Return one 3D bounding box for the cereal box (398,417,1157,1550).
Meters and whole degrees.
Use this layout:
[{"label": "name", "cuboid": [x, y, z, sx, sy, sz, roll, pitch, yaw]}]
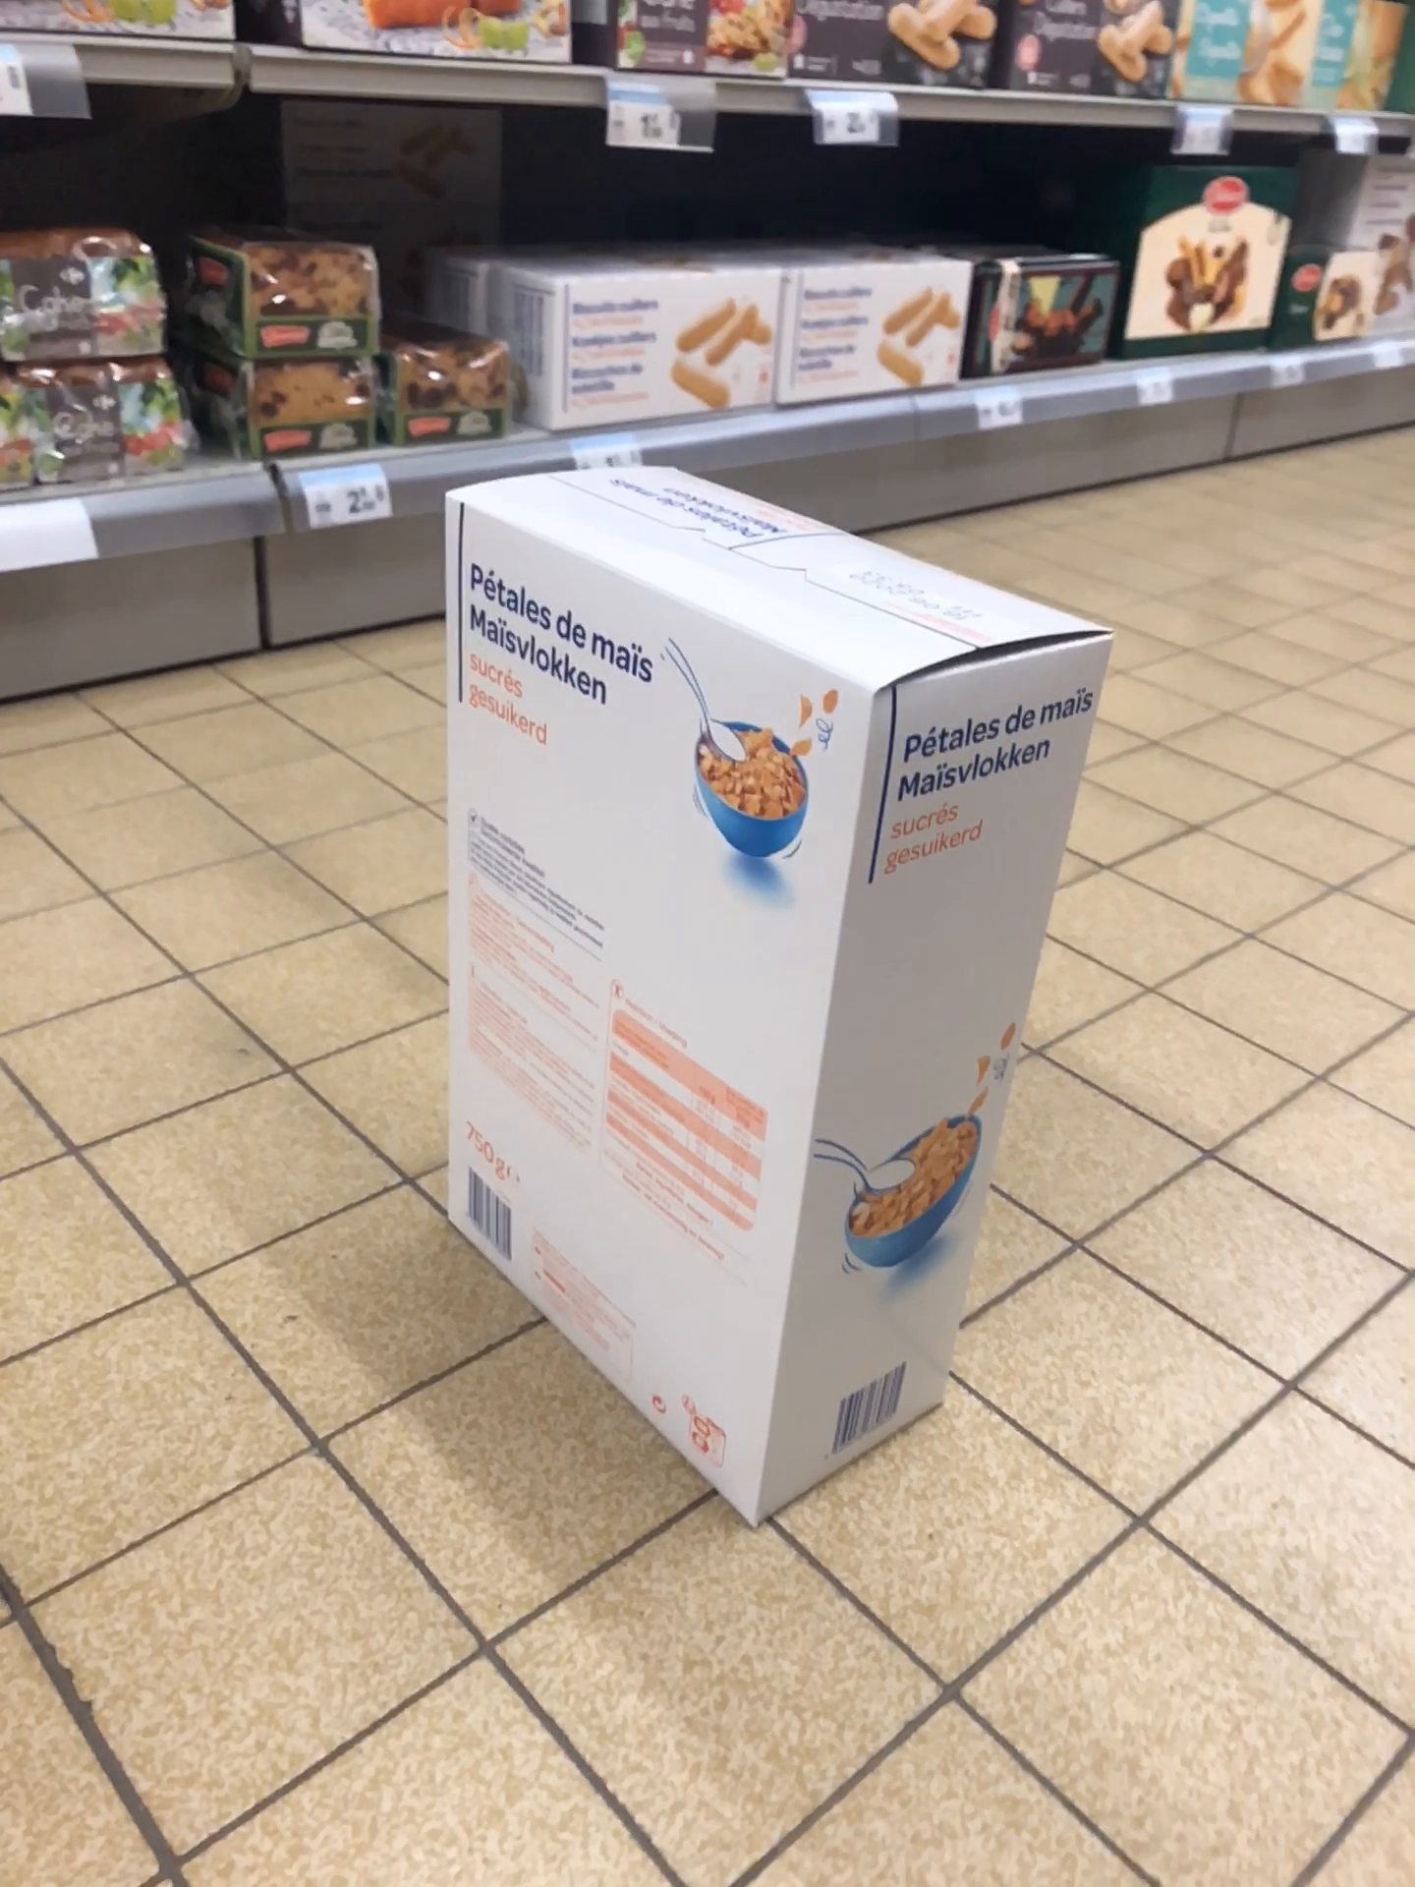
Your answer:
[{"label": "cereal box", "cuboid": [0.001, 0.005, 0.516, 0.111, 0.298, 0.200, -20, 38, -36]}]
